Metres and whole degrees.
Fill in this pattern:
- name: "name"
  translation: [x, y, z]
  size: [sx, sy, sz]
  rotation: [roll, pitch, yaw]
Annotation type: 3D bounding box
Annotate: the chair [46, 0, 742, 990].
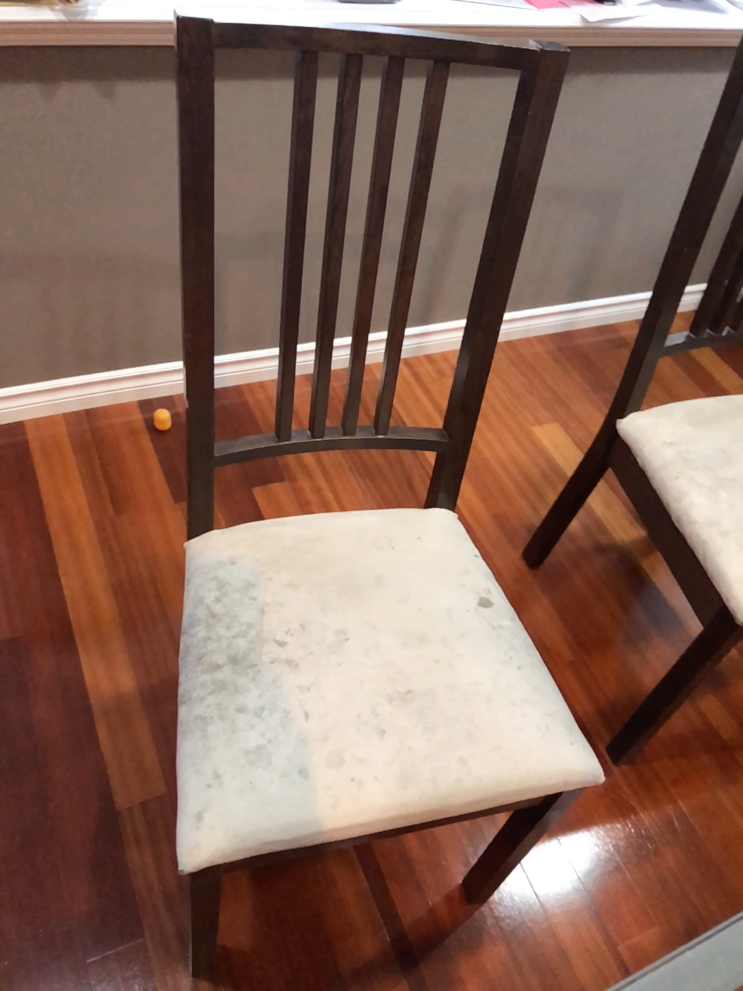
- name: "chair"
  translation: [0.037, 0.073, 0.889]
  size: [0.590, 0.994, 0.543]
  rotation: [-7, 50, -18]
